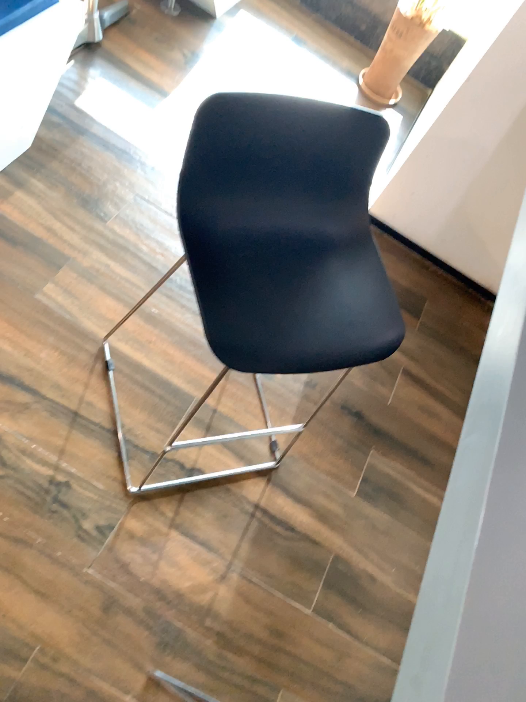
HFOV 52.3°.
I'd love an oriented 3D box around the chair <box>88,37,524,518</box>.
[{"bbox_3d":[-0.050,-0.066,1.210,0.541,0.865,0.592,-5,65,-24],"label":"chair"}]
